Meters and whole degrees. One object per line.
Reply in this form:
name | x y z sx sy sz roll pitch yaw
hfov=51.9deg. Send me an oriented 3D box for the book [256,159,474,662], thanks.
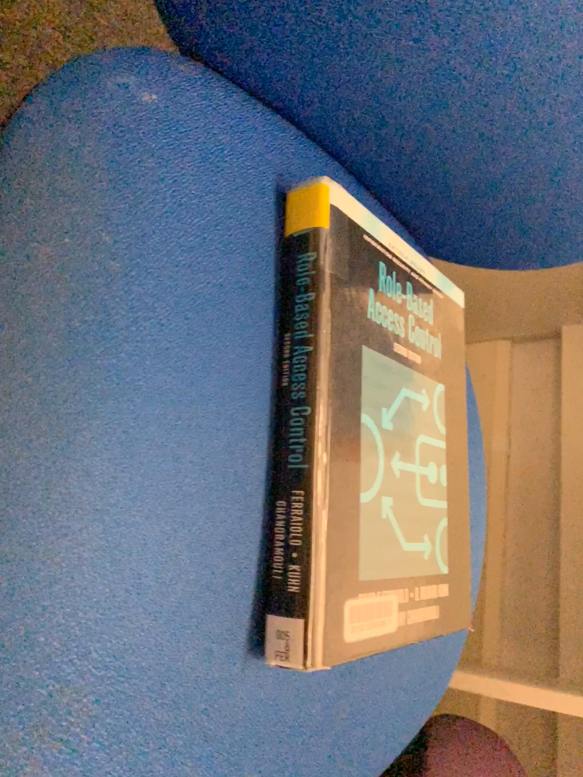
book | 0.059 0.020 0.363 0.190 0.030 0.240 20 68 -51
